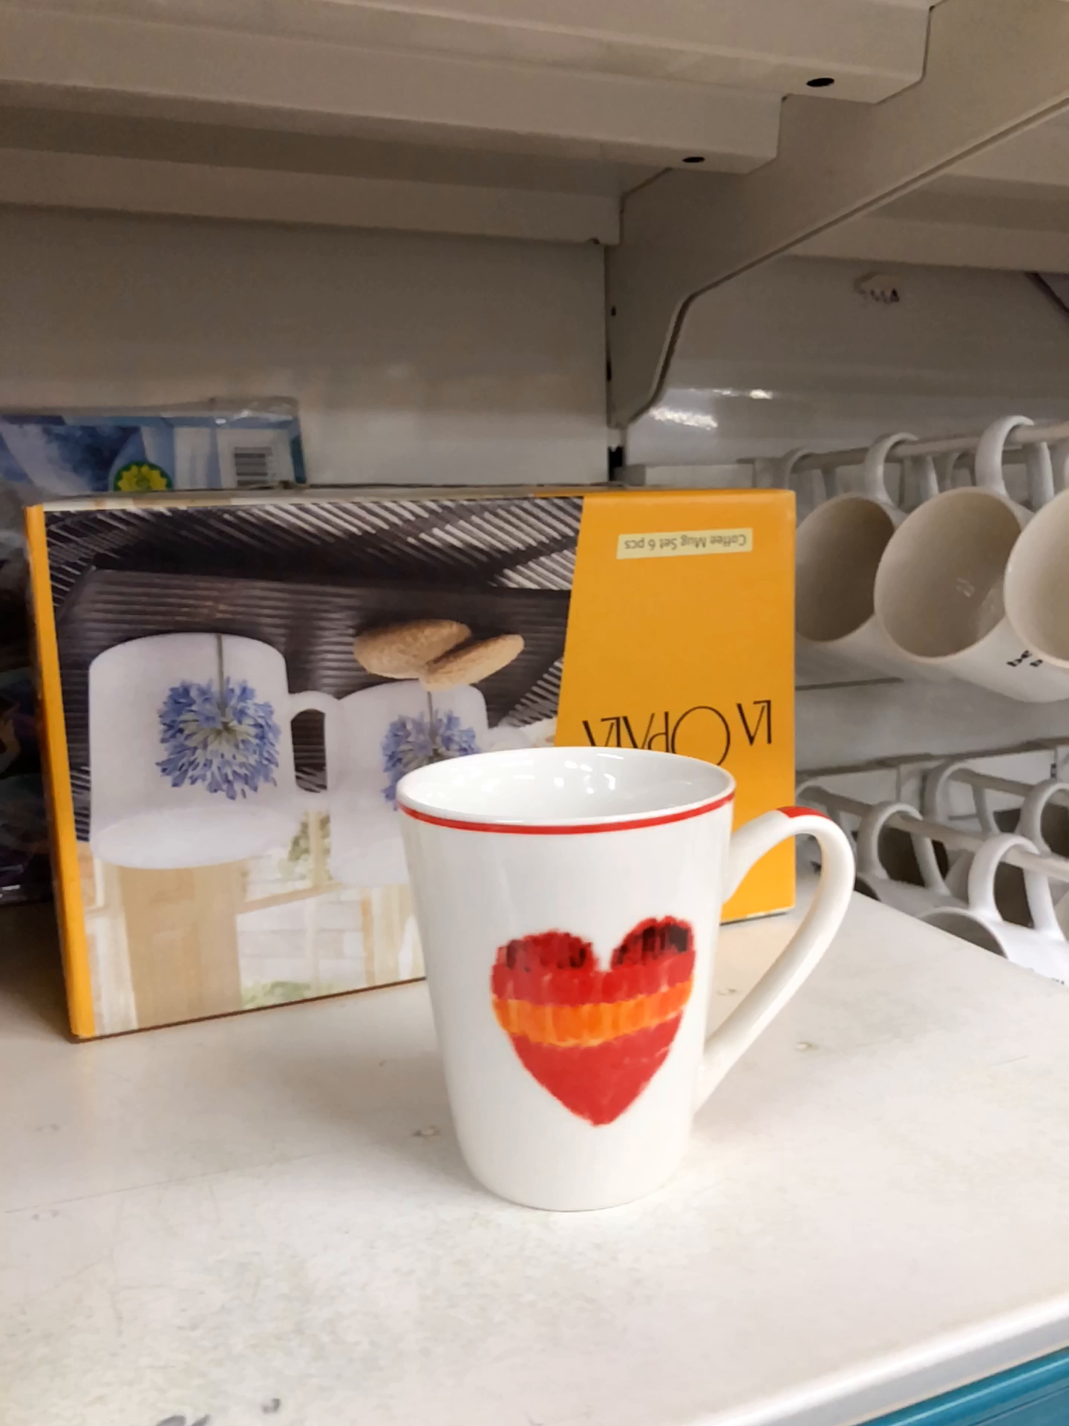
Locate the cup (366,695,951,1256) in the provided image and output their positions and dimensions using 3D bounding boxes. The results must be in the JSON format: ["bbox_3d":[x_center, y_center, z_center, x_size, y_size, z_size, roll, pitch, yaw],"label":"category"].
[{"bbox_3d":[0.026,0.054,0.297,0.120,0.100,0.080,-4,9,-17],"label":"cup"}]
